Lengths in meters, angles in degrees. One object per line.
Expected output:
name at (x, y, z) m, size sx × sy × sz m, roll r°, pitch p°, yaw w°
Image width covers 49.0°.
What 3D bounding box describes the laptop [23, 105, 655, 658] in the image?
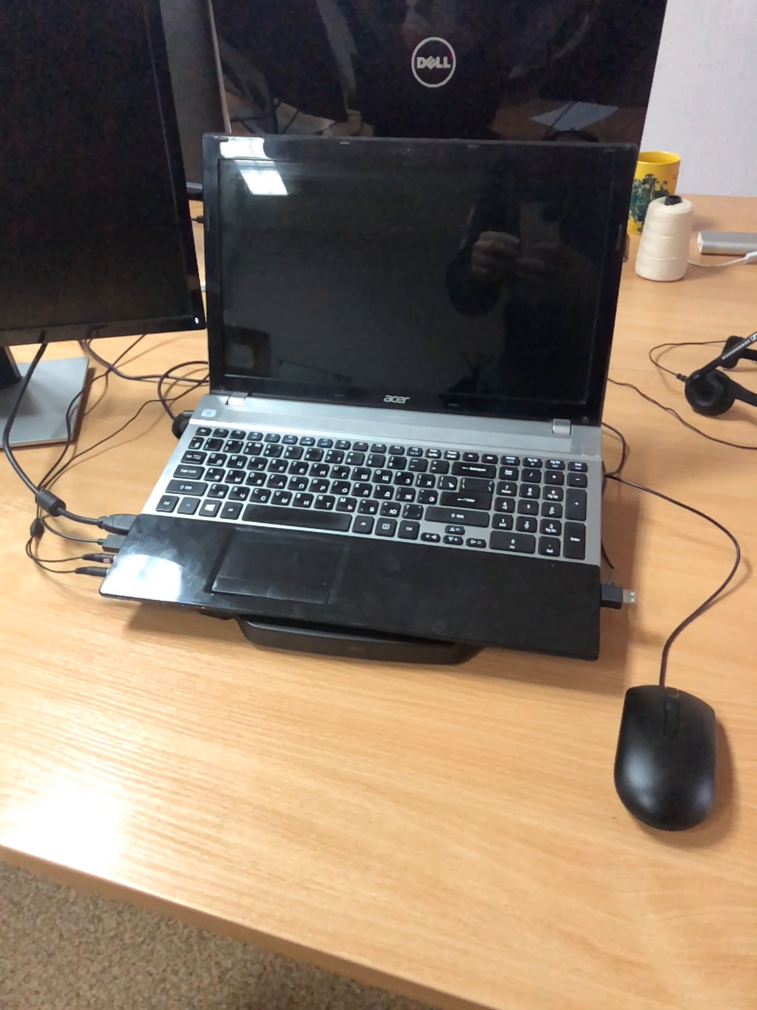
laptop at (0.003, -0.127, 0.654) m, size 0.370 × 0.215 × 0.354 m, roll 6°, pitch 44°, yaw 11°
